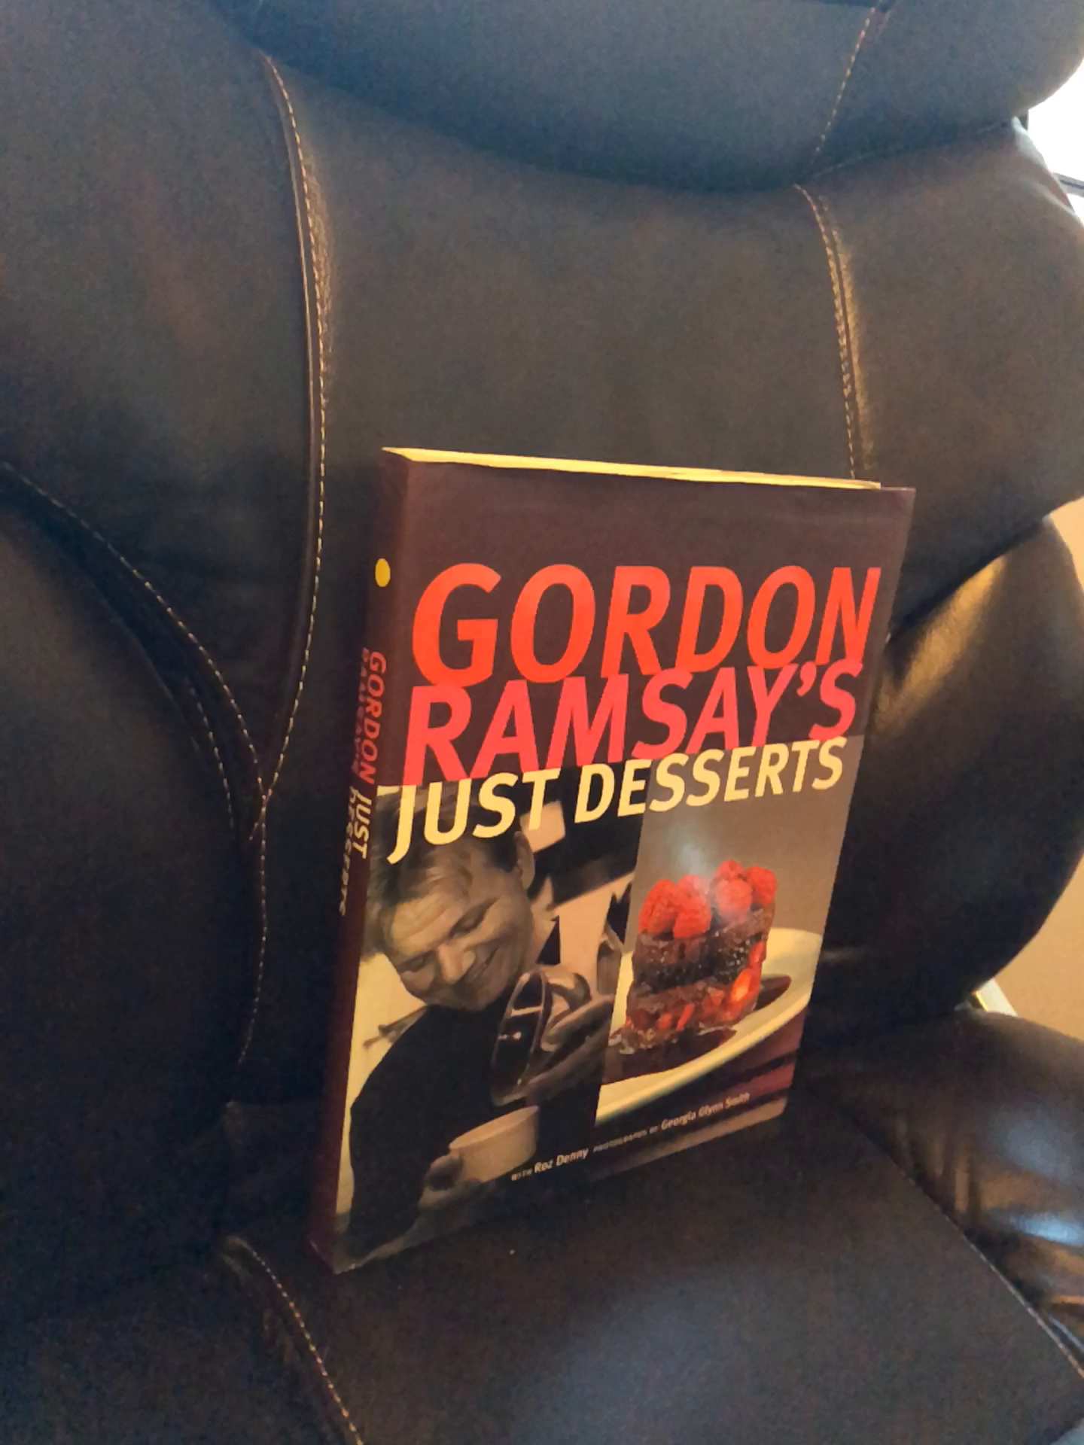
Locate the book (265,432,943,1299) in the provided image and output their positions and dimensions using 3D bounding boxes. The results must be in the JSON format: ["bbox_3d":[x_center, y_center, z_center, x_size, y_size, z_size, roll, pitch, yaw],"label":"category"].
[{"bbox_3d":[0.024,0.051,0.446,0.230,0.293,0.030,-5,25,-35],"label":"book"}]
